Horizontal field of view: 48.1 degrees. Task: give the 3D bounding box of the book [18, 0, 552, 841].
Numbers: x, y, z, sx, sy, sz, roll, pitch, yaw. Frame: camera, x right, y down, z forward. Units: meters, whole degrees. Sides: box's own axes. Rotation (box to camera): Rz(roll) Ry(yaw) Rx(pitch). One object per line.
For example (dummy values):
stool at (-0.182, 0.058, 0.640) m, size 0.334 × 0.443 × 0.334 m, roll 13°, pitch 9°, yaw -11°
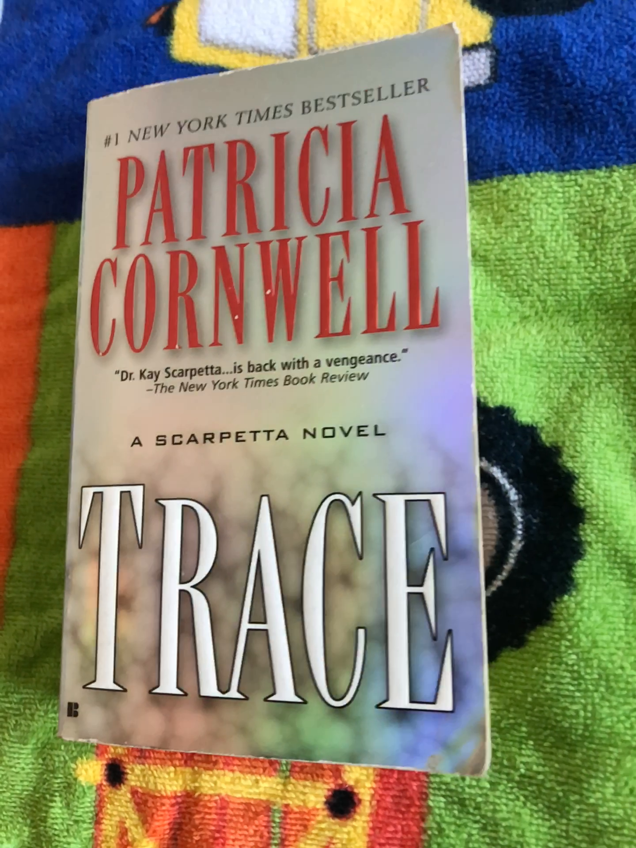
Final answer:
book at (-0.006, -0.006, 0.184) m, size 0.120 × 0.040 × 0.180 m, roll -2°, pitch 80°, yaw 18°
